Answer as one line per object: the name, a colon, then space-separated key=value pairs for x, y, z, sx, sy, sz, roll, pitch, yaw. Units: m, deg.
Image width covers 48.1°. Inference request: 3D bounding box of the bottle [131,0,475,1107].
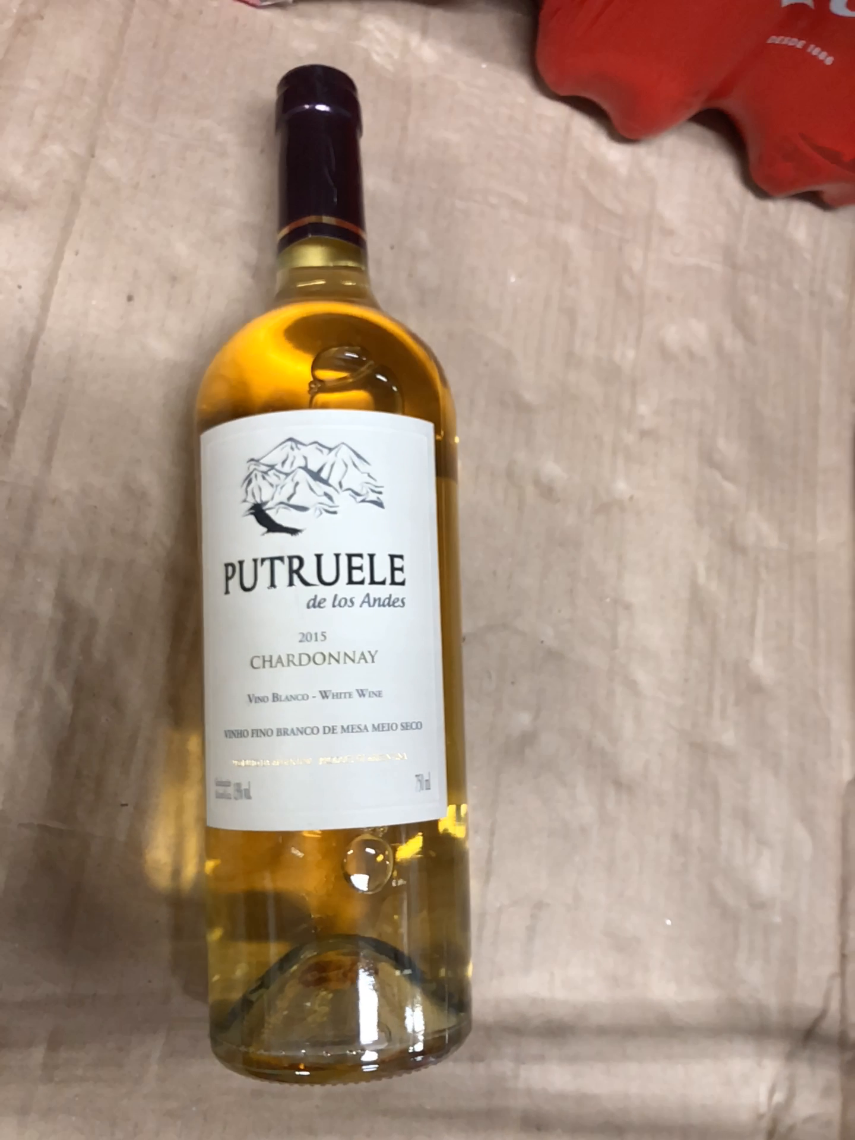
bottle: x=-0.035 y=-0.019 z=0.283 sx=0.080 sy=0.070 sz=0.300 roll=-4 pitch=79 yaw=2
